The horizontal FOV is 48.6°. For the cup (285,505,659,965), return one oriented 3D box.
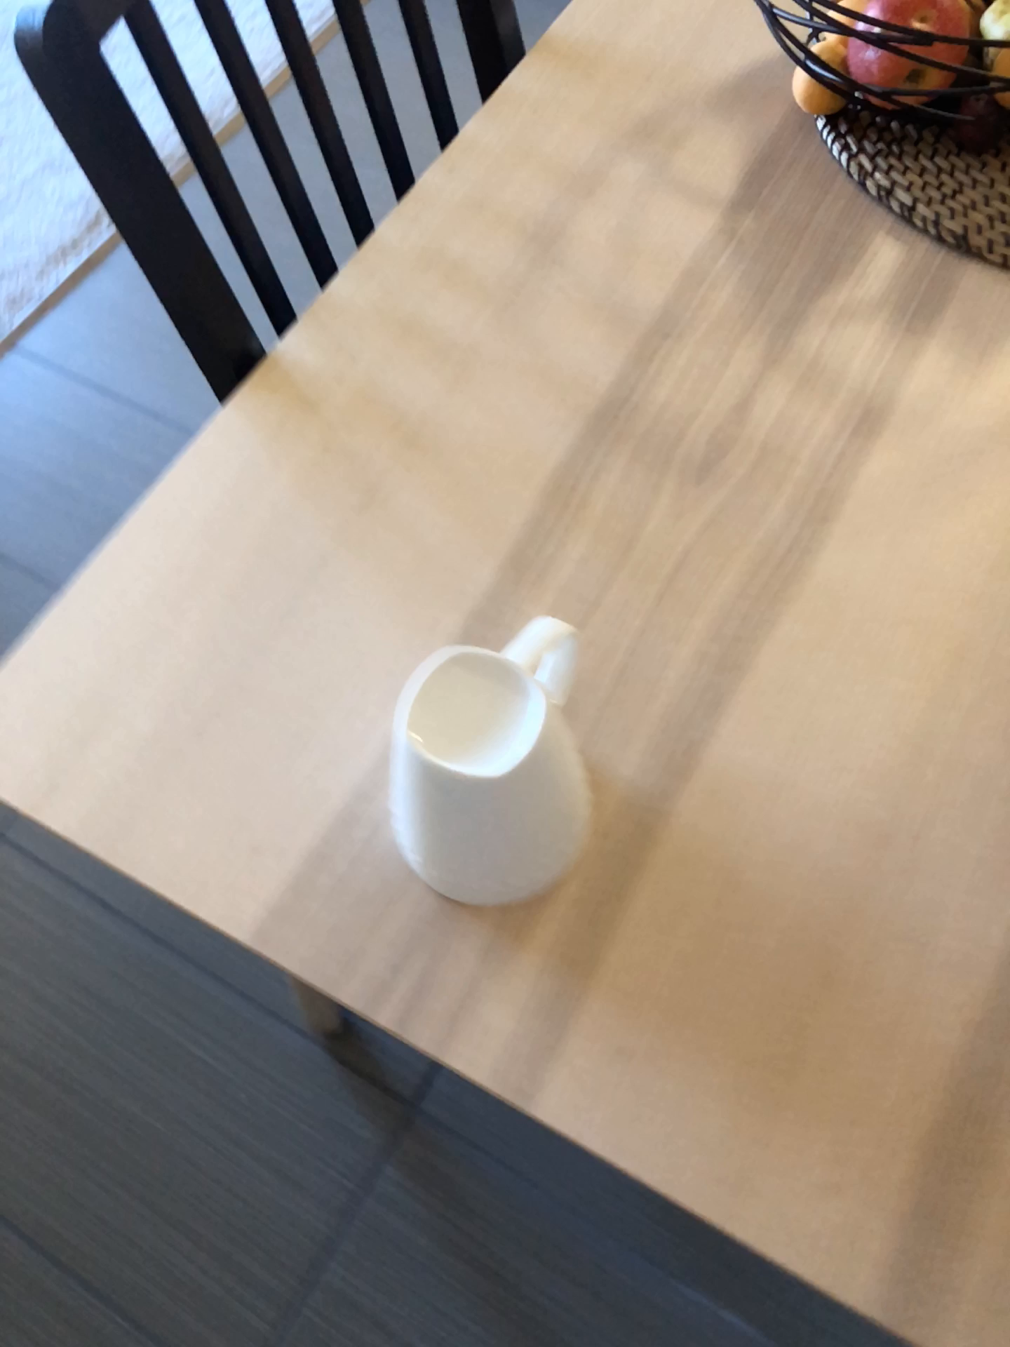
[{"bbox_3d":[-0.005,0.029,0.493,0.100,0.120,0.140,18,64,15],"label":"cup"}]
